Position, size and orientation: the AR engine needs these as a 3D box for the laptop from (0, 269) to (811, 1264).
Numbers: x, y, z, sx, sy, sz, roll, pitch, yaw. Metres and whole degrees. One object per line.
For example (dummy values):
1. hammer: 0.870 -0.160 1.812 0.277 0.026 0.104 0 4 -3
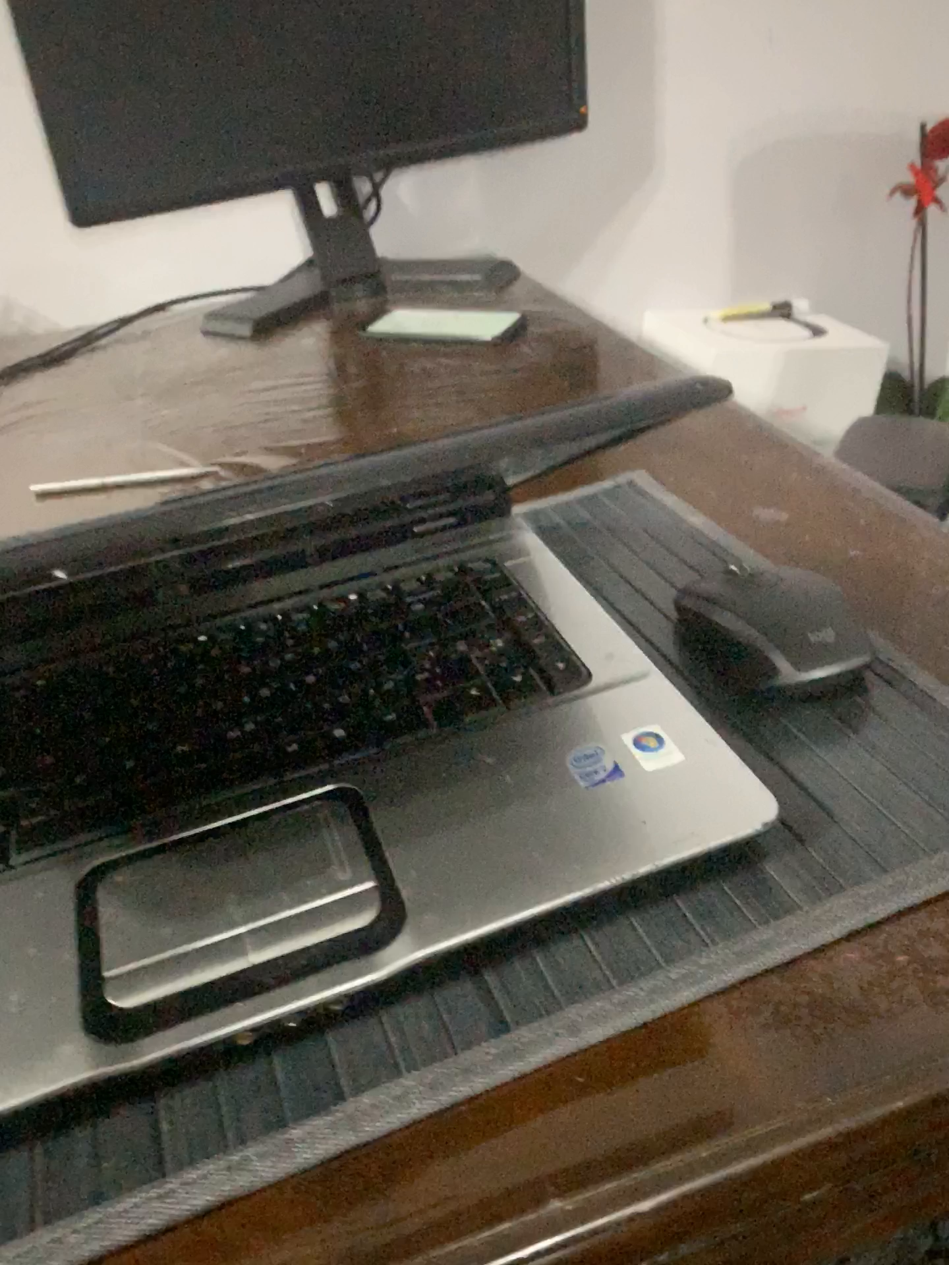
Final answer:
1. laptop: -0.105 -0.009 0.335 0.343 0.108 0.245 -16 37 -16
